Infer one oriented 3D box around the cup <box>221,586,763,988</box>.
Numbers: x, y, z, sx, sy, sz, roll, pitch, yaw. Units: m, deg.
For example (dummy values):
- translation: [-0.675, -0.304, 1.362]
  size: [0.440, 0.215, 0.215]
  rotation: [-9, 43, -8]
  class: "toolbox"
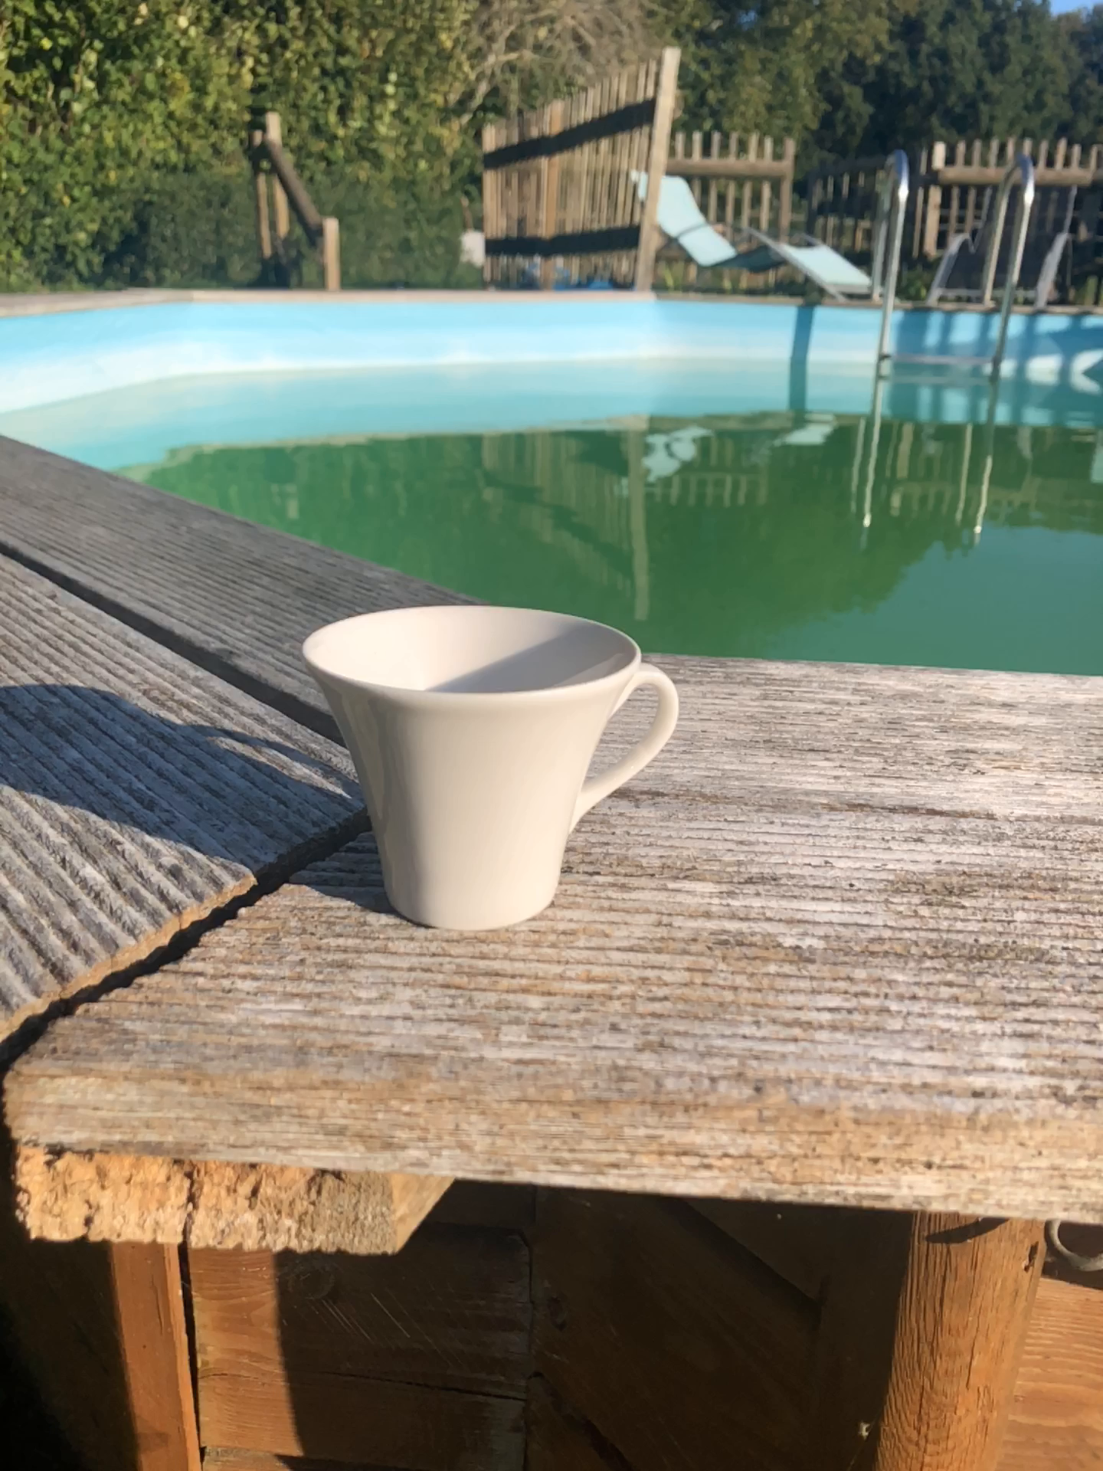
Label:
- translation: [-0.016, 0.005, 0.277]
  size: [0.097, 0.053, 0.076]
  rotation: [-9, 23, -25]
  class: "cup"
